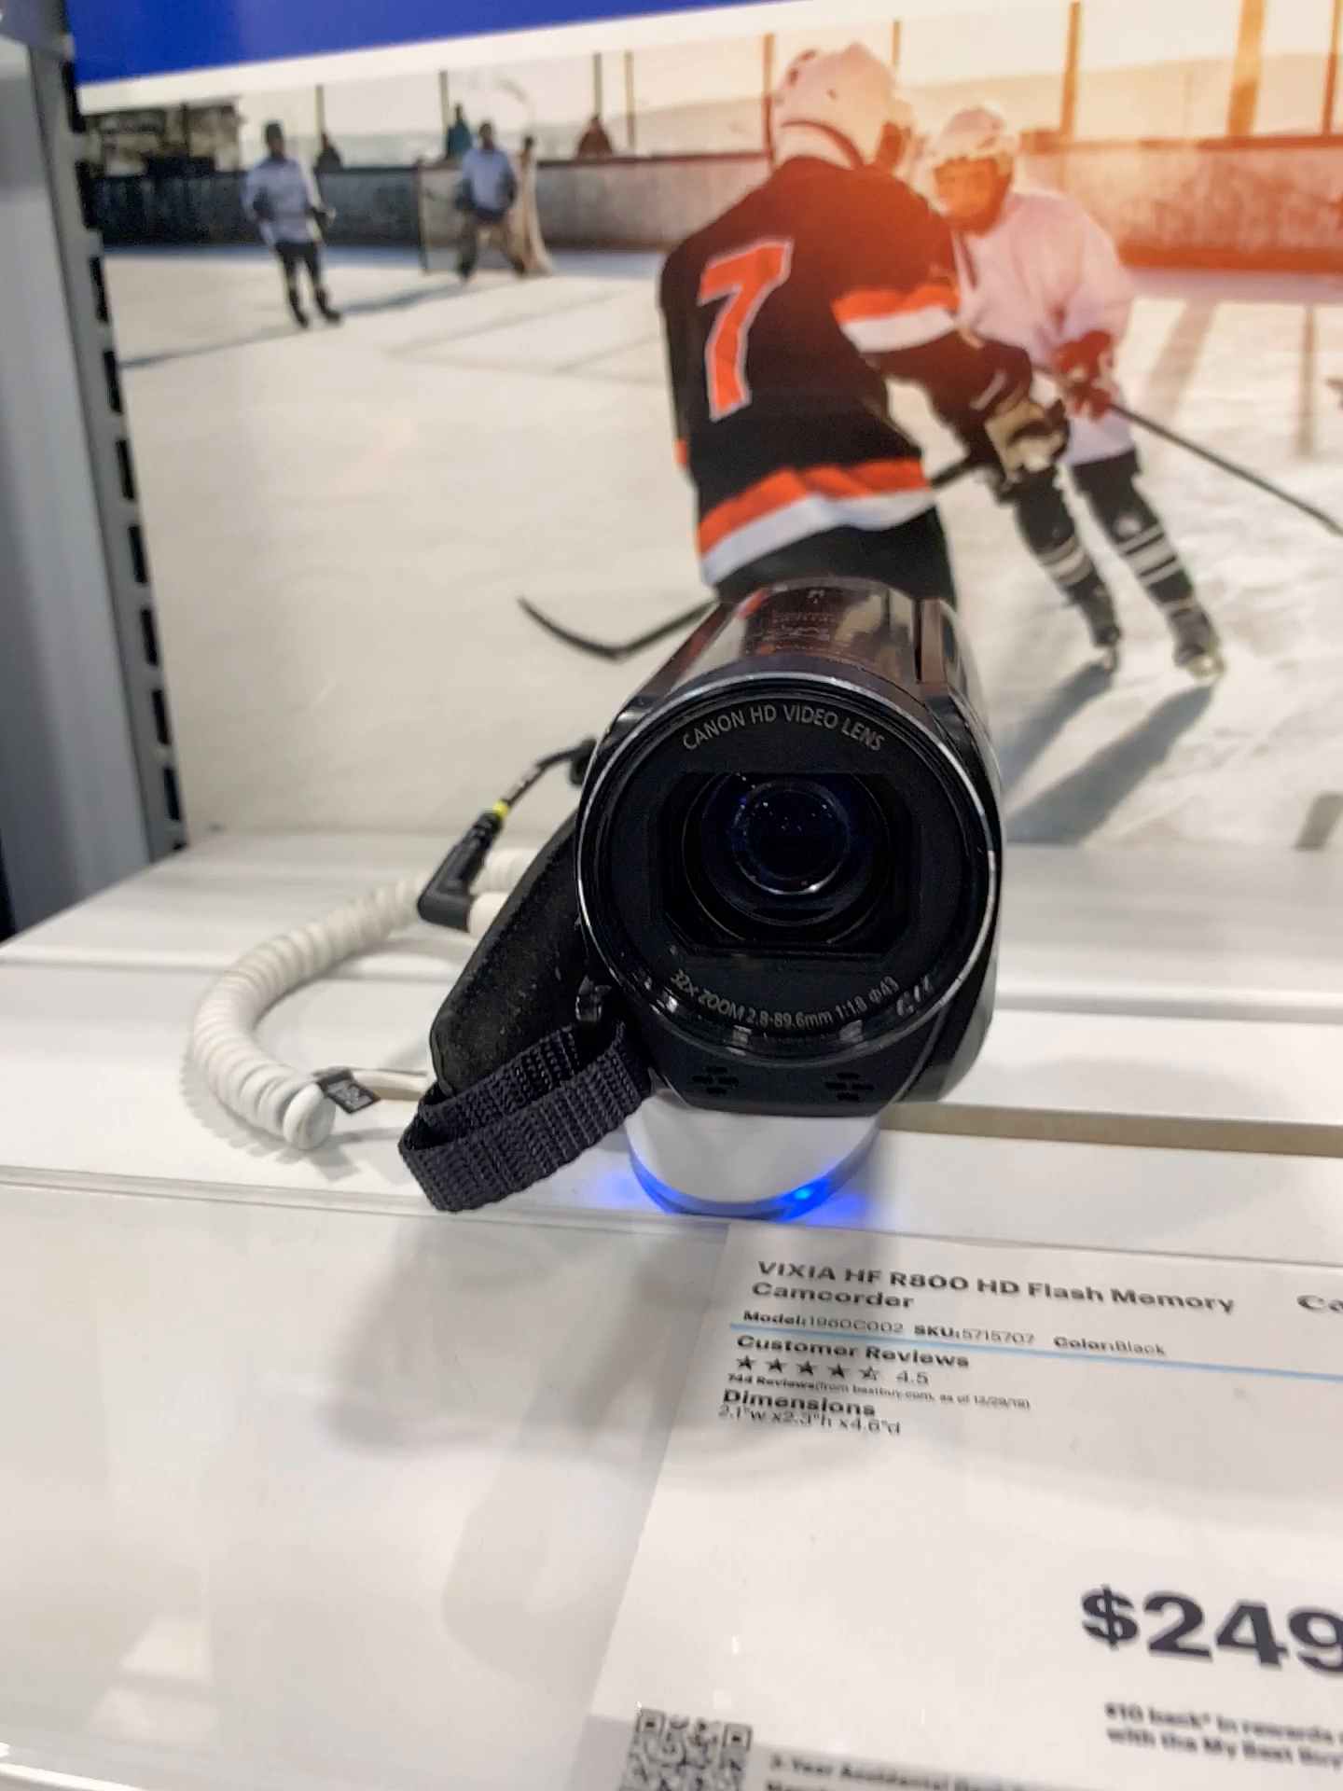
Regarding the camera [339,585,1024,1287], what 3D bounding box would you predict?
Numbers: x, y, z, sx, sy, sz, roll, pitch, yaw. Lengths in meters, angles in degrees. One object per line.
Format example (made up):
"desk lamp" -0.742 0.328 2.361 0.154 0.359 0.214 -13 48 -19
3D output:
"camera" 0.013 -0.009 0.220 0.072 0.062 0.140 2 19 10
